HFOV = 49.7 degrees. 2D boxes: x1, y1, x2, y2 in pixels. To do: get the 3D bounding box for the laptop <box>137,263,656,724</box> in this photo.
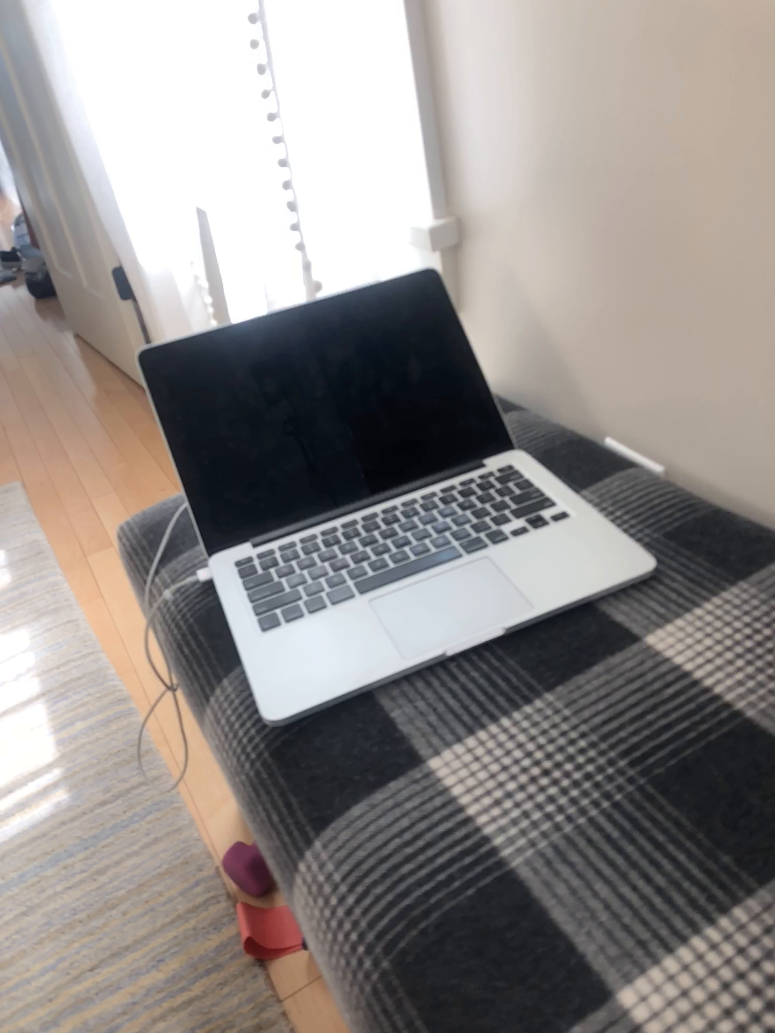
[{"bbox_3d":[-0.017,-0.059,0.701,0.306,0.142,0.368,-20,34,-12],"label":"laptop"}]
